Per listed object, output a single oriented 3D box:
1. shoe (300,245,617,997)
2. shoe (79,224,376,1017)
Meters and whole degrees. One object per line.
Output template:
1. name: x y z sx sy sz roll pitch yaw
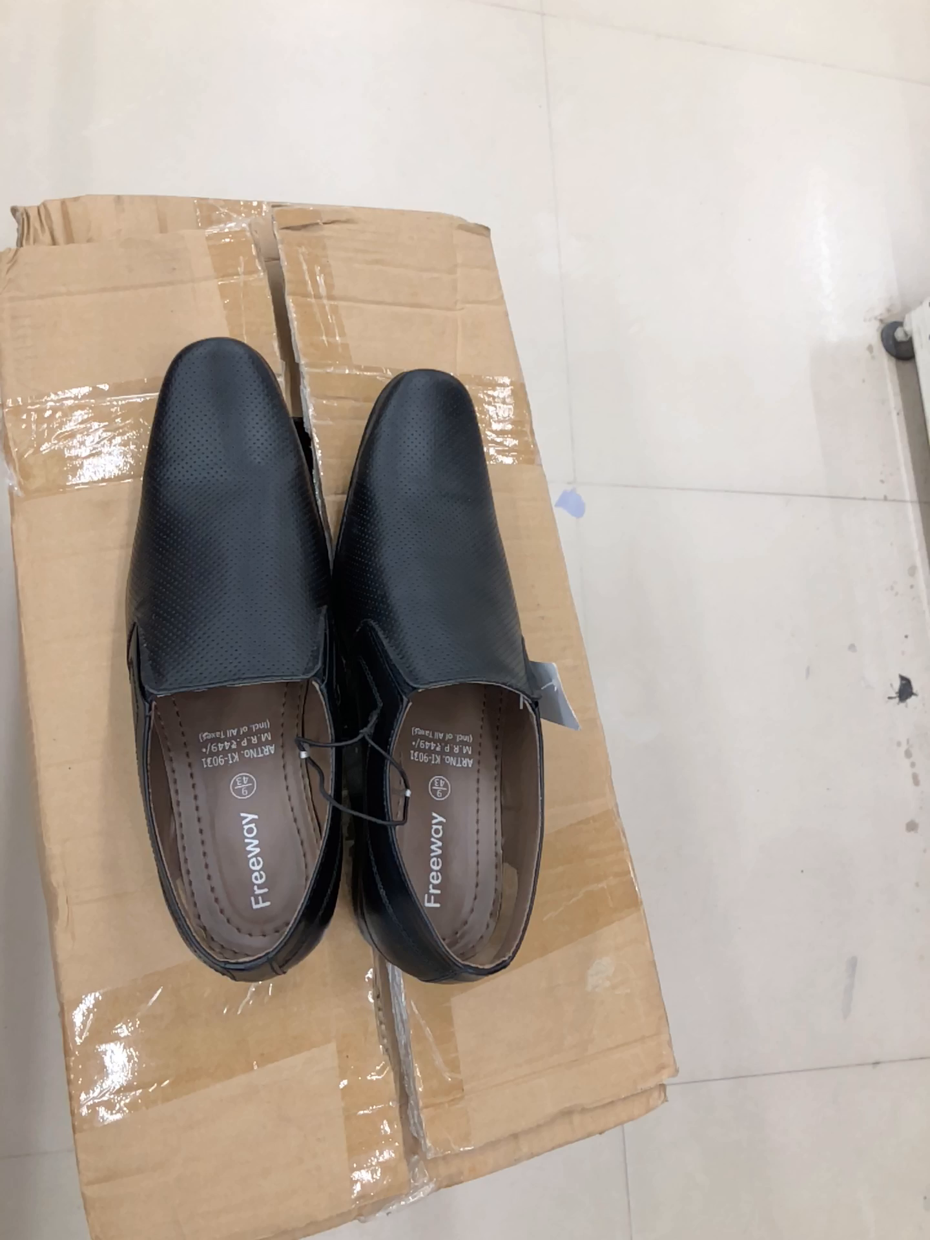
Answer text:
1. shoe: -0.013 -0.001 0.486 0.100 0.100 0.320 1 76 -20
2. shoe: -0.107 -0.005 0.458 0.100 0.100 0.320 -4 77 -10
